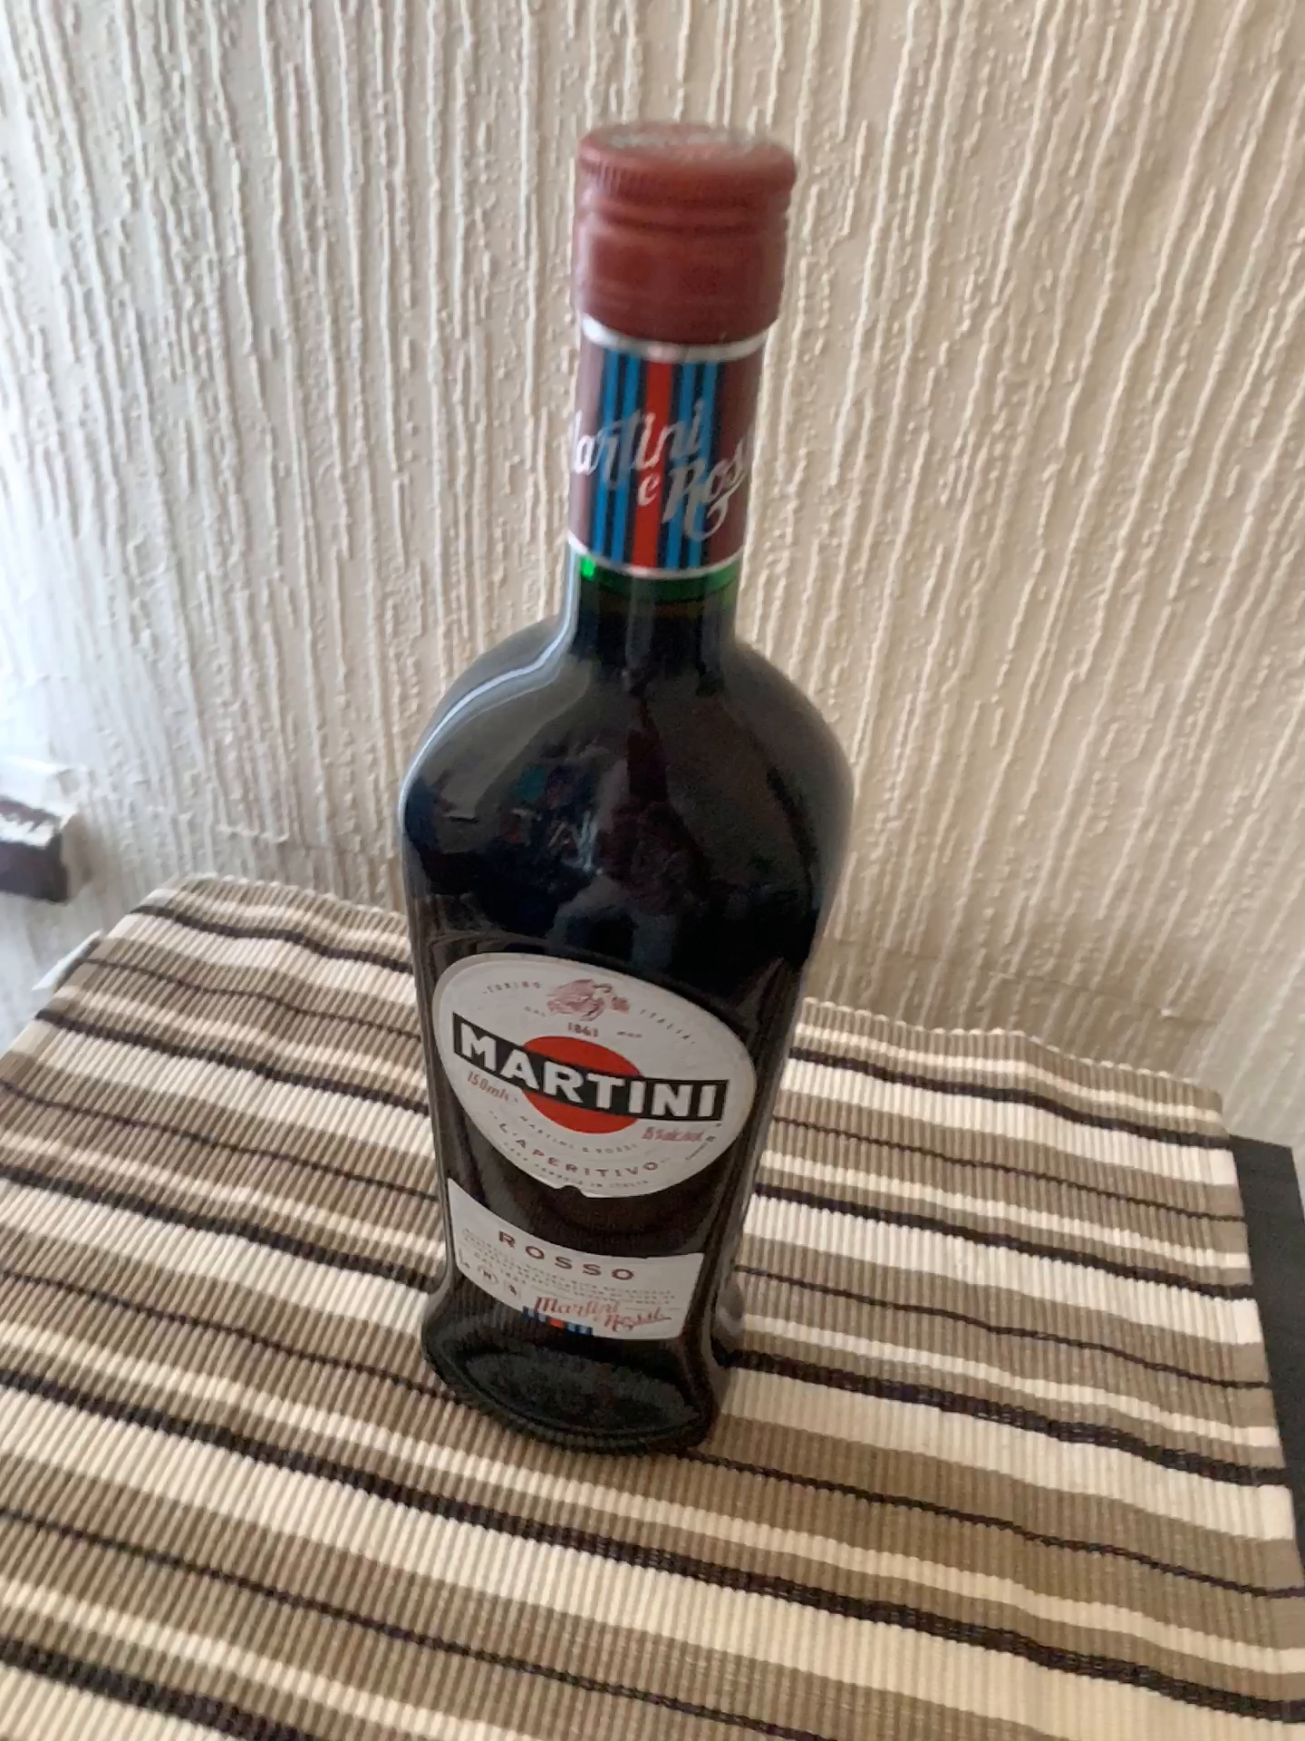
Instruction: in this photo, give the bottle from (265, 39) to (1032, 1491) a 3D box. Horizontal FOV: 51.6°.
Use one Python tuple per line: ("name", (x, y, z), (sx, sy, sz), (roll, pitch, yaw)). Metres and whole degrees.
("bottle", (-0.008, 0.014, 0.274), (0.090, 0.297, 0.061), (13, 40, 8))
